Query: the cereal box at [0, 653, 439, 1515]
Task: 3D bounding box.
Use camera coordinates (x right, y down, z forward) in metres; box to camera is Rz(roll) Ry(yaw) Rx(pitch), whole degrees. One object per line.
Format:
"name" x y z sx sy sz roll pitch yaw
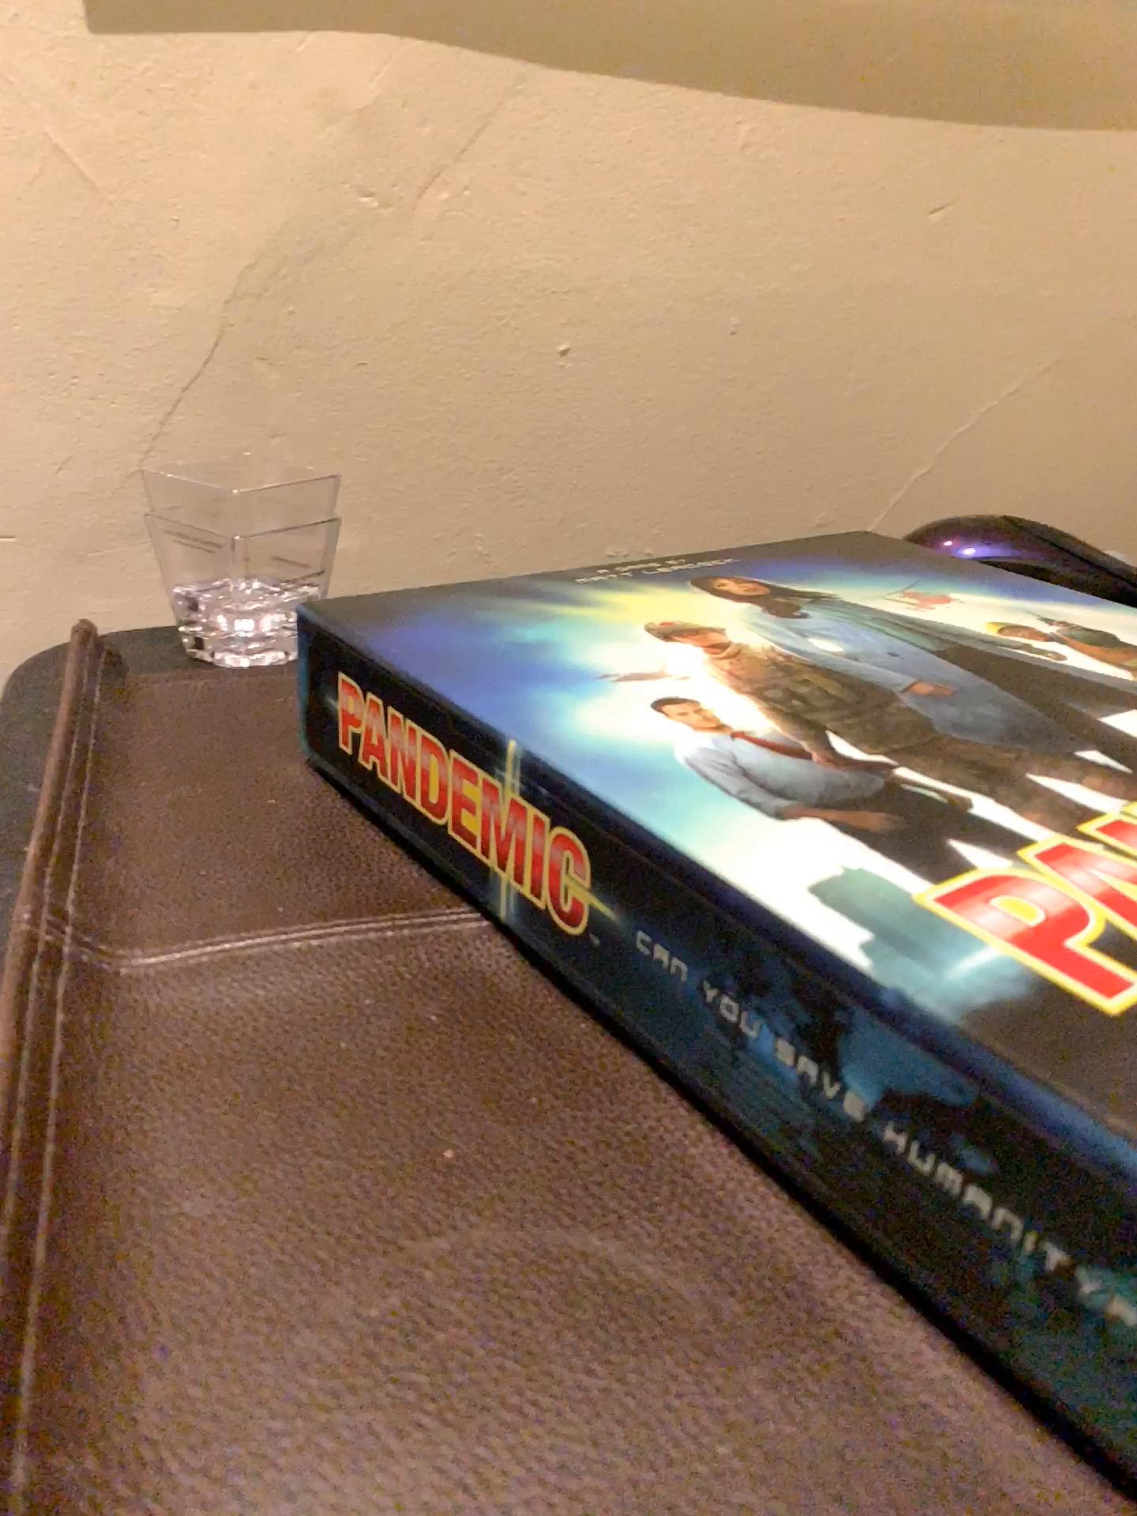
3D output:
"cereal box" -0.447 0.504 0.876 0.511 0.994 0.472 11 26 21
